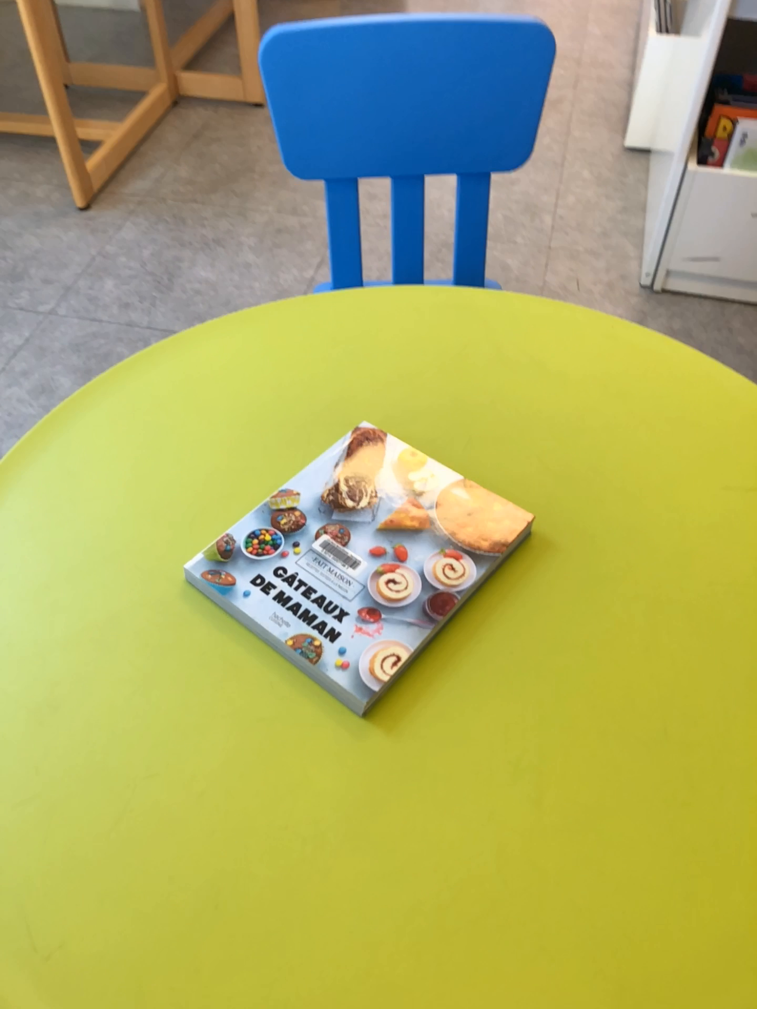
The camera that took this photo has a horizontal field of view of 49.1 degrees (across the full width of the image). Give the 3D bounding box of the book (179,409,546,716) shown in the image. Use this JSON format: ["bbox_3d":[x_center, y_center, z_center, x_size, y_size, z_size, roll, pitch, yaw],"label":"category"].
[{"bbox_3d":[-0.009,0.030,0.683,0.200,0.021,0.229,31,55,25],"label":"book"}]
